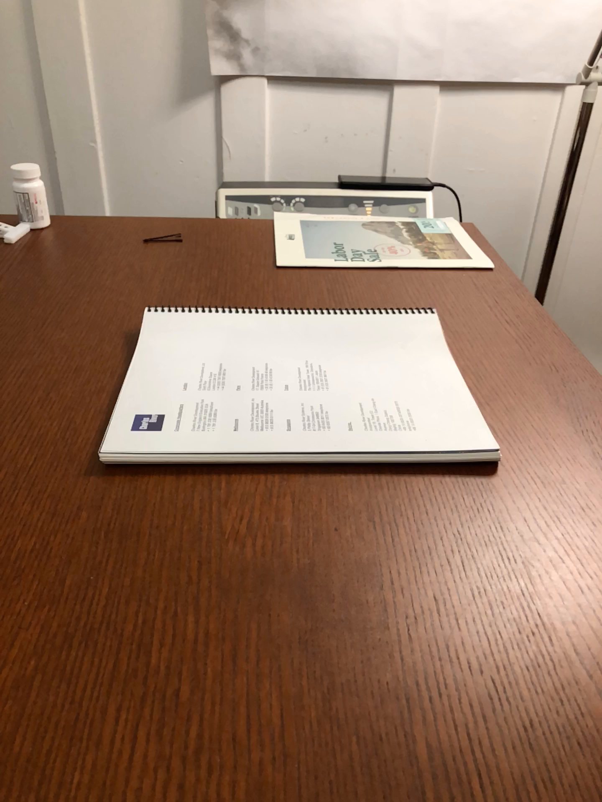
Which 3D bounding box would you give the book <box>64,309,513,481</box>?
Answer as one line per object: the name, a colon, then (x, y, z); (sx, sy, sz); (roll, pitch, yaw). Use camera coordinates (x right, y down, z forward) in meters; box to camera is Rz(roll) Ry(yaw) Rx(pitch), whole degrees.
book: (-0.012, -0.017, 0.545); (0.300, 0.020, 0.231); (0, 32, -4)
